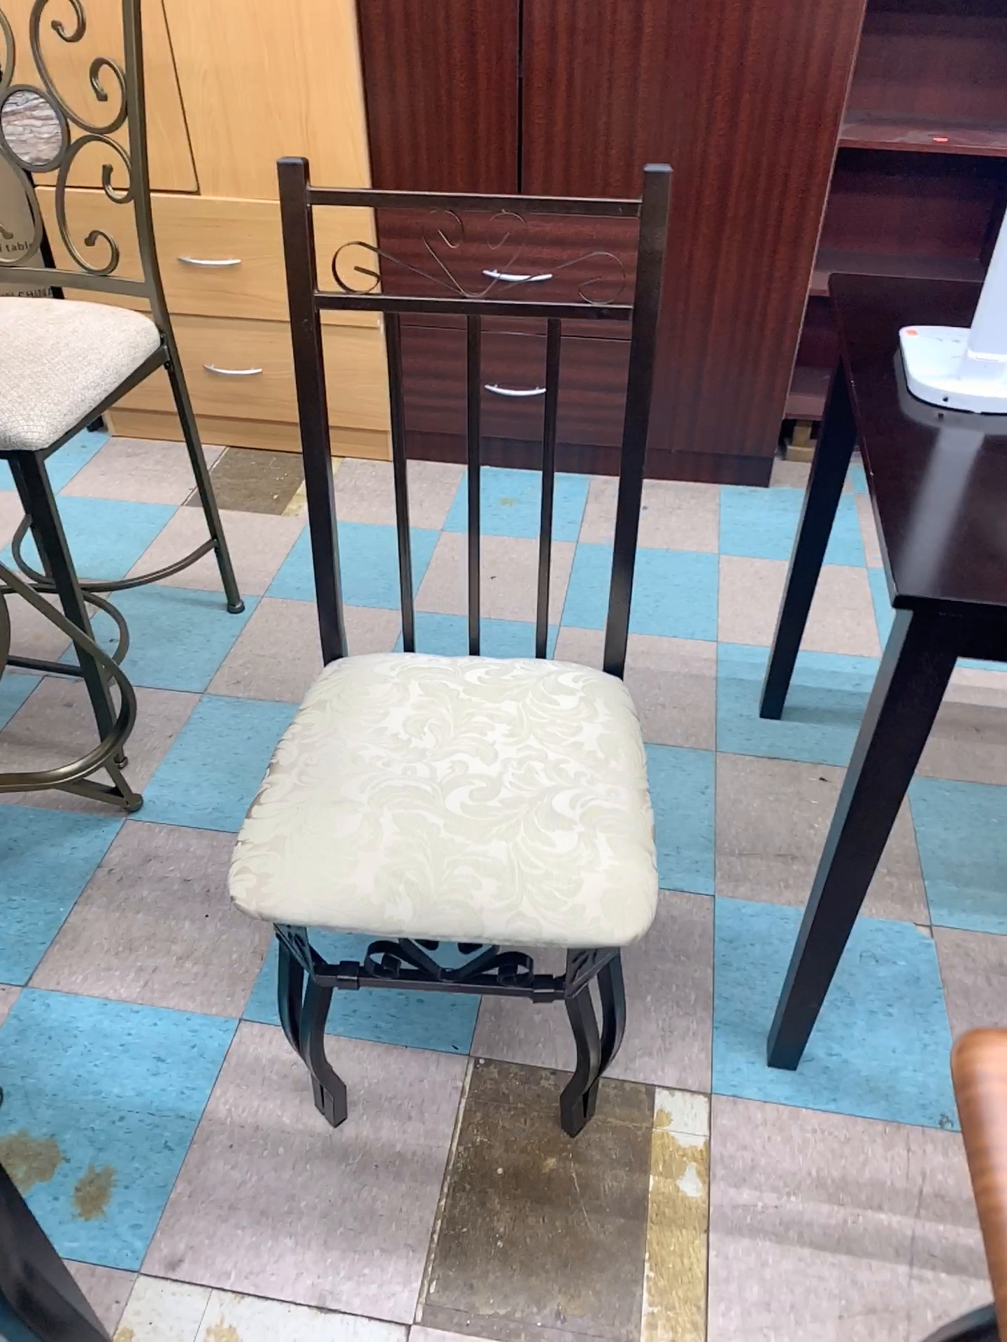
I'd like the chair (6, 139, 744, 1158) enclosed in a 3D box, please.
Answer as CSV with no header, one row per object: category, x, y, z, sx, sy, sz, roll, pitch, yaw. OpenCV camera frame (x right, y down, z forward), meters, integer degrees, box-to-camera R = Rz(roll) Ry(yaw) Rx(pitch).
chair,-0.058,0.035,1.061,0.415,0.951,0.478,2,41,3
